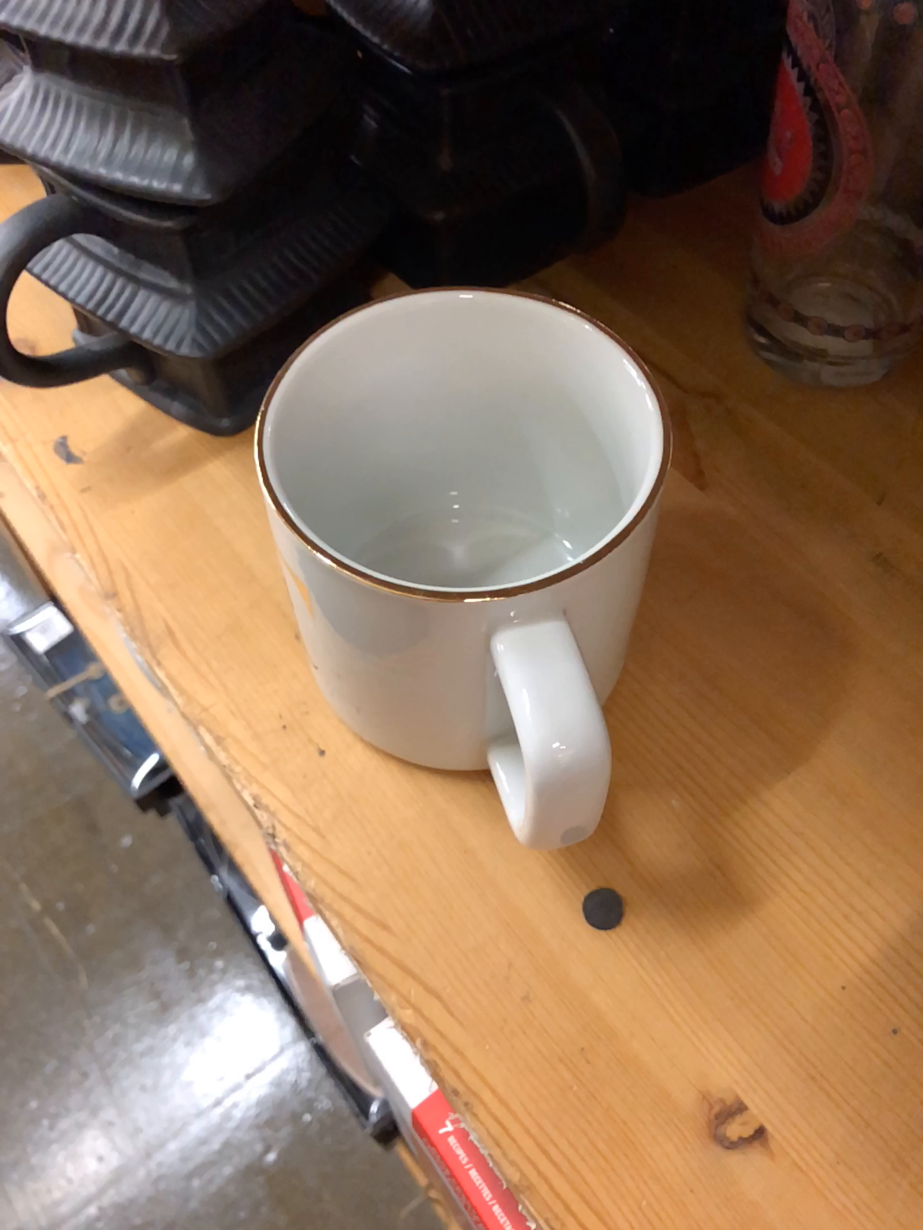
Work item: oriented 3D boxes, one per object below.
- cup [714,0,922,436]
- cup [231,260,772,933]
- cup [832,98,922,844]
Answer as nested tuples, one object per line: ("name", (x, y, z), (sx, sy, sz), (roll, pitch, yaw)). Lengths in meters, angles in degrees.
("cup", (0.127, -0.132, 0.290), (0.078, 0.134, 0.093), (2, 57, 3))
("cup", (0.001, -0.005, 0.246), (0.088, 0.084, 0.123), (-9, 57, -4))
("cup", (0.155, -0.027, 0.221), (0.078, 0.104, 0.093), (-25, 59, -14))
